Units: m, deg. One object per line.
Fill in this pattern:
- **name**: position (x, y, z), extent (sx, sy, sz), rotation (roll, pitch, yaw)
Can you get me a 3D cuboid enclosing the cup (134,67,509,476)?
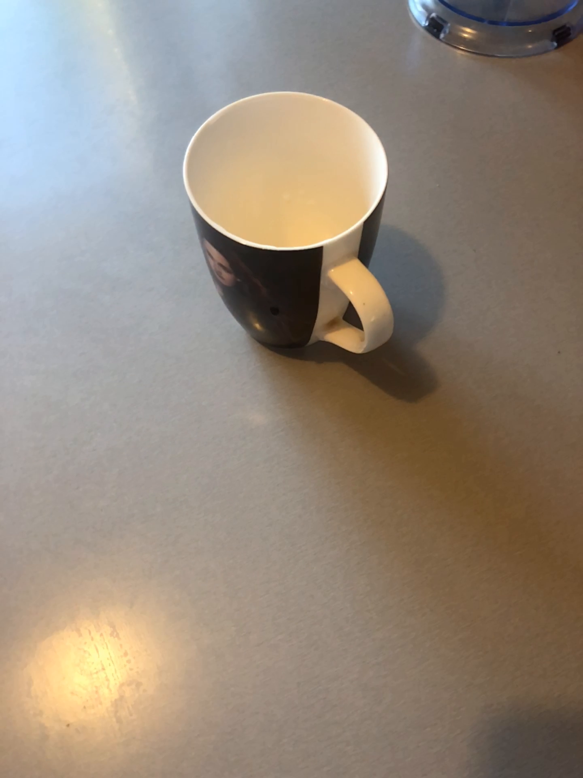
- **cup**: position (0.009, -0.052, 0.300), extent (0.090, 0.100, 0.130), rotation (-31, 67, -14)
